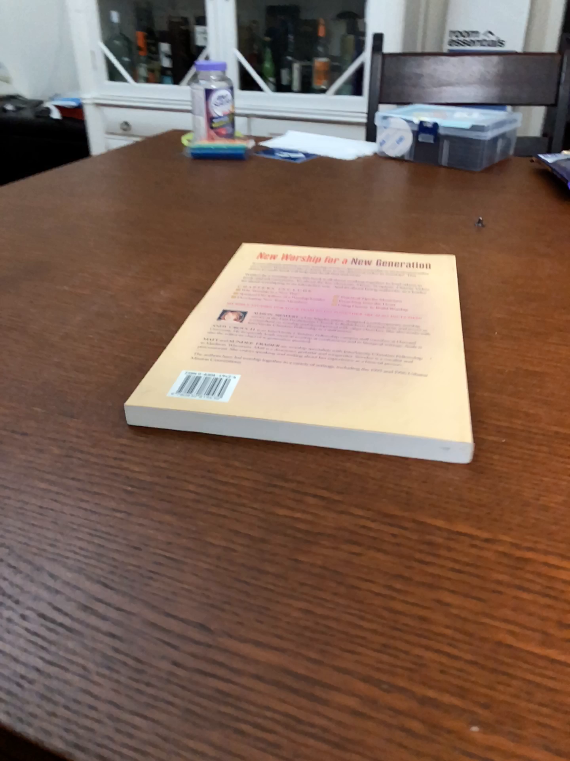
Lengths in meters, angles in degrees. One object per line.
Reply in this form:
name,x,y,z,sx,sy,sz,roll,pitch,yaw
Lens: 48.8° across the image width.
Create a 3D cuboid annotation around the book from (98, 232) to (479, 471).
book,0.022,-0.043,0.427,0.190,0.020,0.272,5,32,9
